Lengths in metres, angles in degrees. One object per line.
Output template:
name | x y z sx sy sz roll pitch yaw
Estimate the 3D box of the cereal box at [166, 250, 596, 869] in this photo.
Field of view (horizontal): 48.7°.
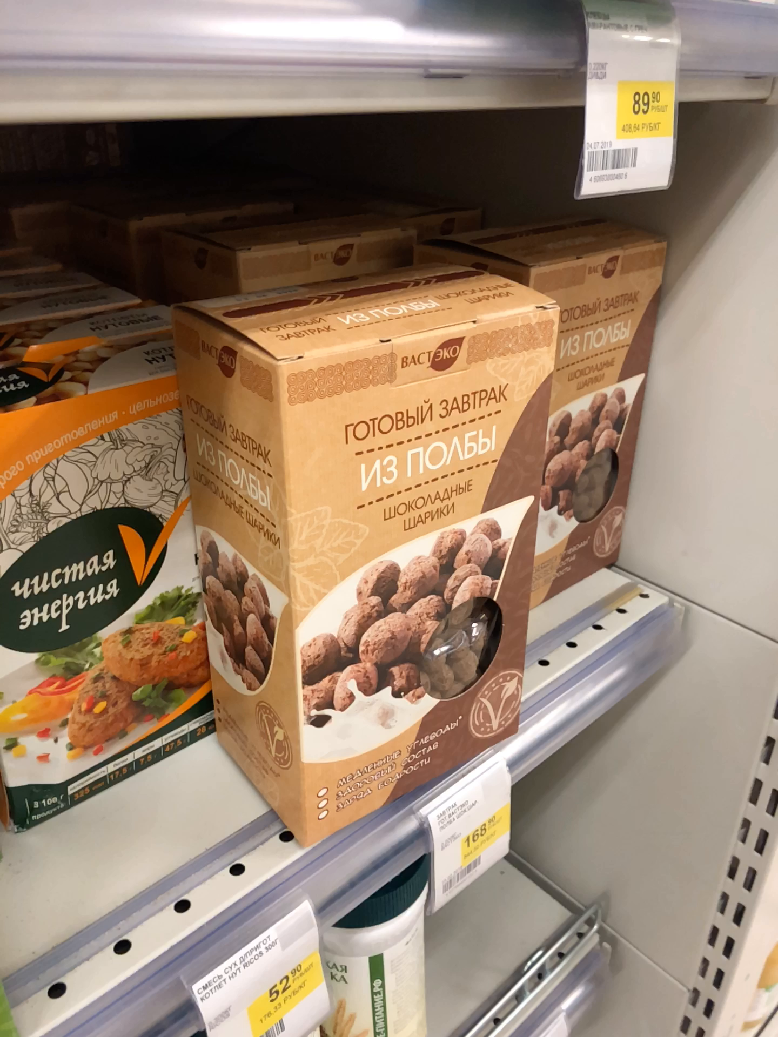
cereal box | -0.002 0.010 0.351 0.130 0.209 0.080 -18 32 -33
